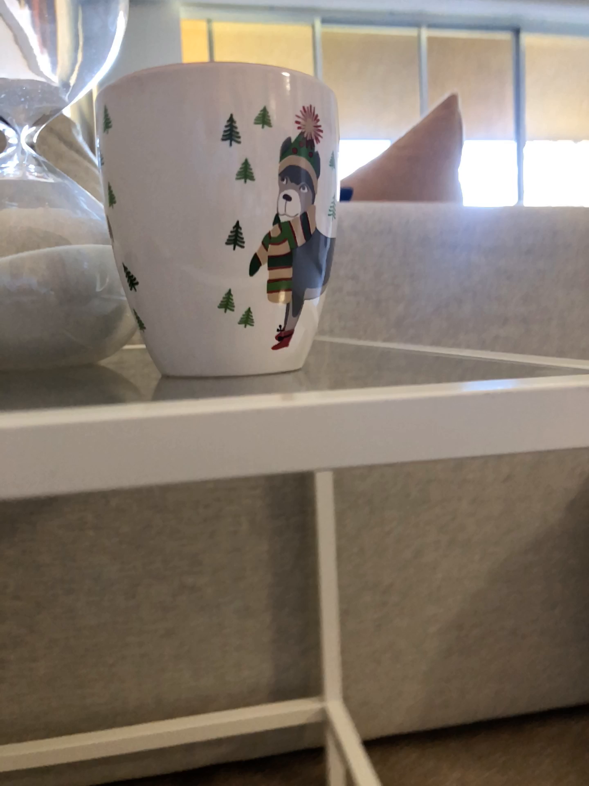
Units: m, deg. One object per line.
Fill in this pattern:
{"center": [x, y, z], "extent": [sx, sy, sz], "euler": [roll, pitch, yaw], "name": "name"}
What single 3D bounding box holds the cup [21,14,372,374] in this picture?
{"center": [-0.027, -0.071, 0.296], "extent": [0.100, 0.110, 0.150], "euler": [-1, 6, 14], "name": "cup"}
